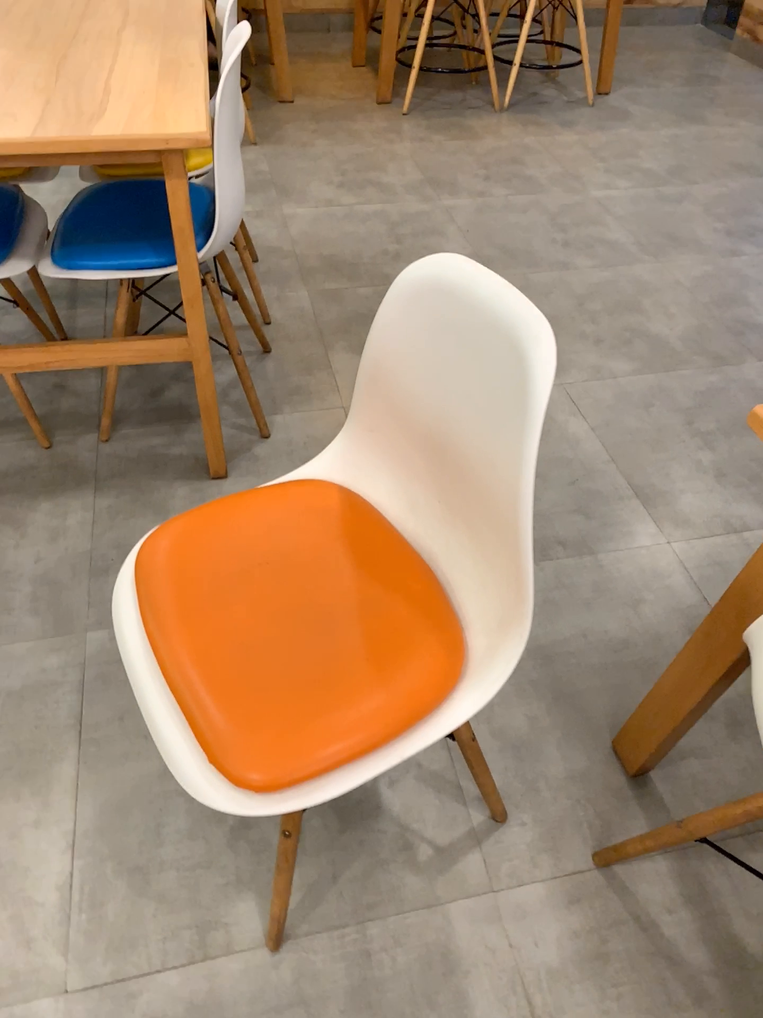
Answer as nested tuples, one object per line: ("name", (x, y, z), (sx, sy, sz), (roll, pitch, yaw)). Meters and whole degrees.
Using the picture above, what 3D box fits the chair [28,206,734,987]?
("chair", (-0.046, 0.108, 0.941), (0.481, 0.704, 0.473), (-17, 46, -20))
